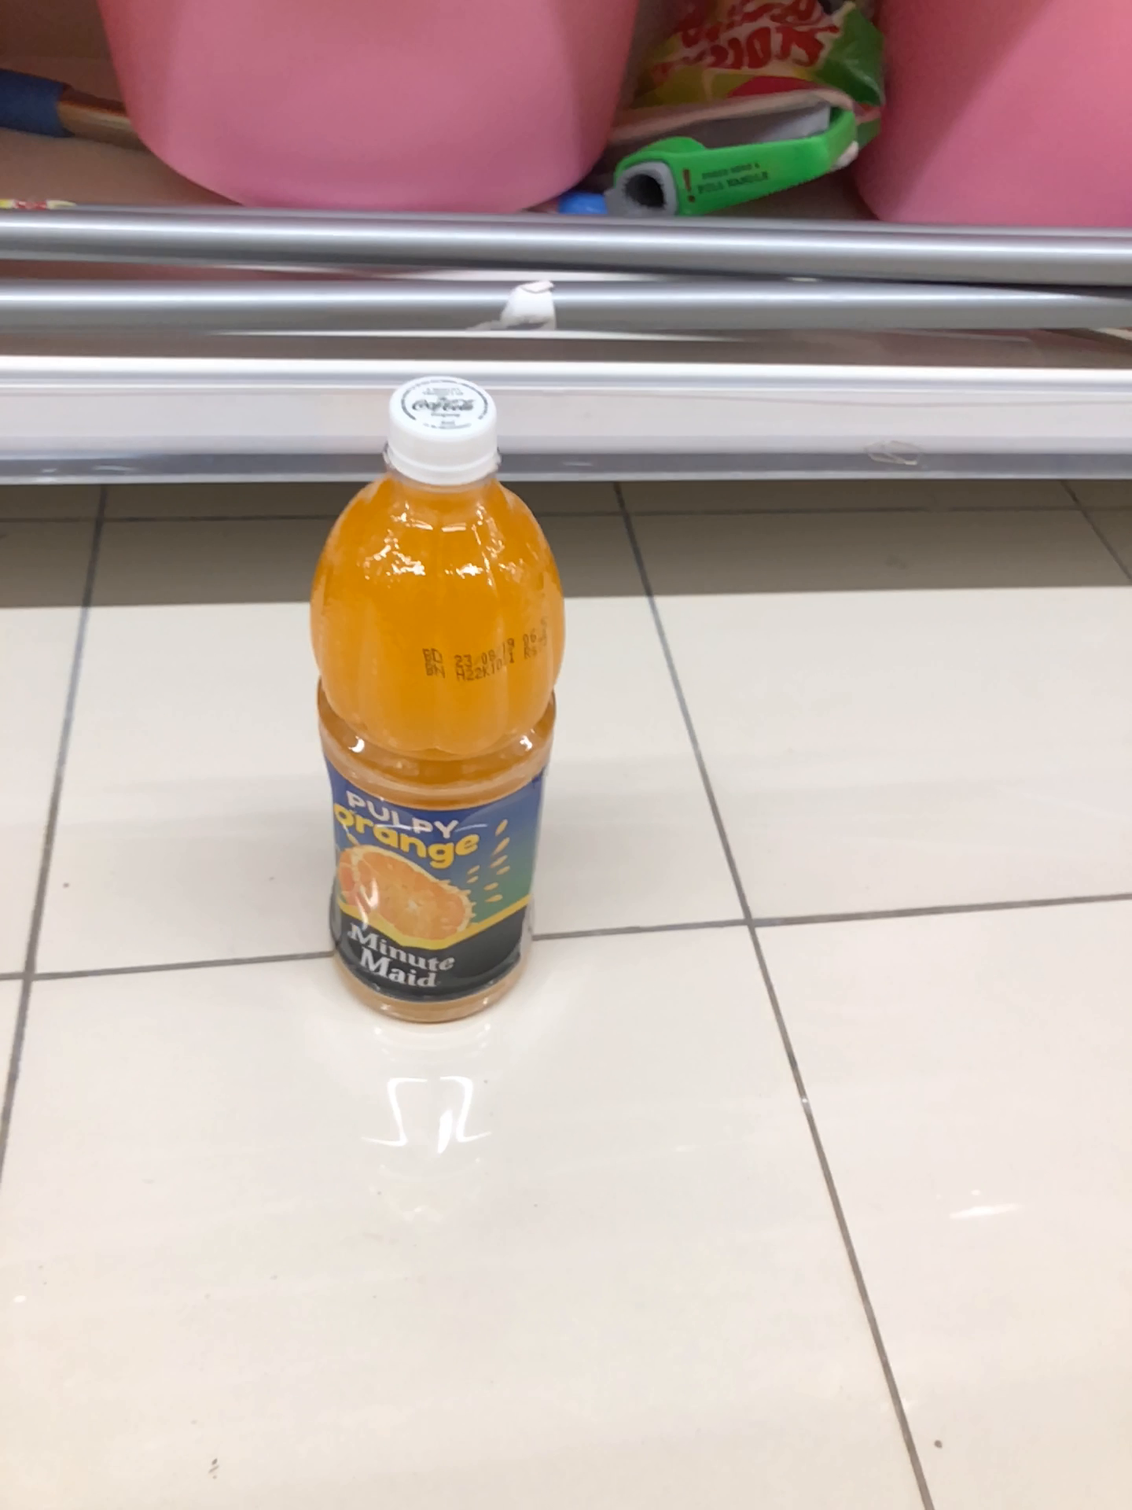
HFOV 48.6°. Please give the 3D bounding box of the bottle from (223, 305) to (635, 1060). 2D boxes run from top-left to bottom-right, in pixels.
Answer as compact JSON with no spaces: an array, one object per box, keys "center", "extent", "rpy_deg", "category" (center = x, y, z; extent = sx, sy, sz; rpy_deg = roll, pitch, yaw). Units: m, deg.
[{"center":[-0.044,-0.008,0.427],"extent":[0.090,0.246,0.091],"rpy_deg":[4,46,-4],"category":"bottle"}]
